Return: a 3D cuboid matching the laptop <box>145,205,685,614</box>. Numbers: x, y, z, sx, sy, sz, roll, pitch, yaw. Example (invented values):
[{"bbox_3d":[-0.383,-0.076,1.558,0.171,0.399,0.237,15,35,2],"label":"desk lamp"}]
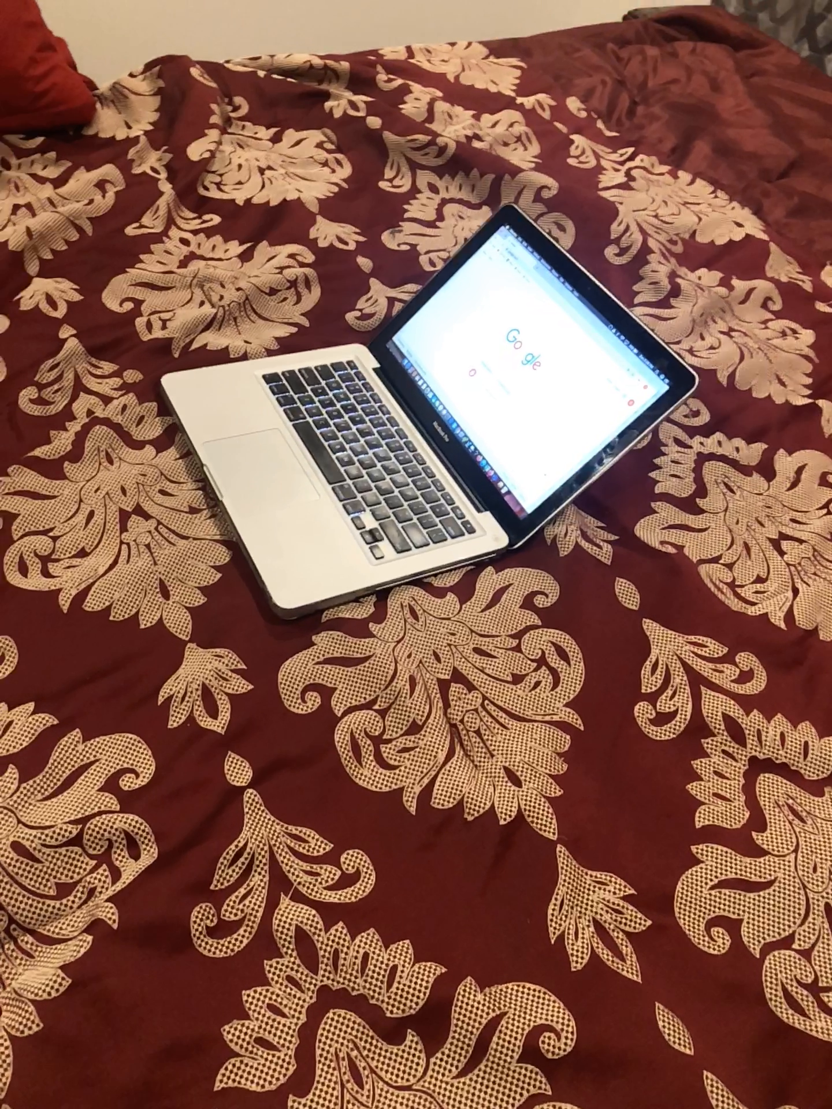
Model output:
[{"bbox_3d":[-0.011,-0.147,0.780,0.342,0.133,0.293,-16,53,-24],"label":"laptop"}]
